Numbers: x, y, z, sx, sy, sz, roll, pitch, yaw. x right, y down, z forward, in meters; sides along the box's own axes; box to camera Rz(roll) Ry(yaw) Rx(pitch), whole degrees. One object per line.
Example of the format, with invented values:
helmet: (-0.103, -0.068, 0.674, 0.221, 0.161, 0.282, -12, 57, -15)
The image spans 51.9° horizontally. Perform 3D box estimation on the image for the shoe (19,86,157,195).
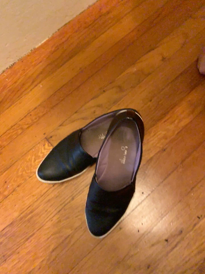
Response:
shoe: (-0.028, 0.010, 0.454, 0.260, 0.080, 0.100, -30, 72, -4)

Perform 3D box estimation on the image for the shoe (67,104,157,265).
shoe: (0.019, 0.077, 0.388, 0.100, 0.080, 0.250, 13, 96, 10)
